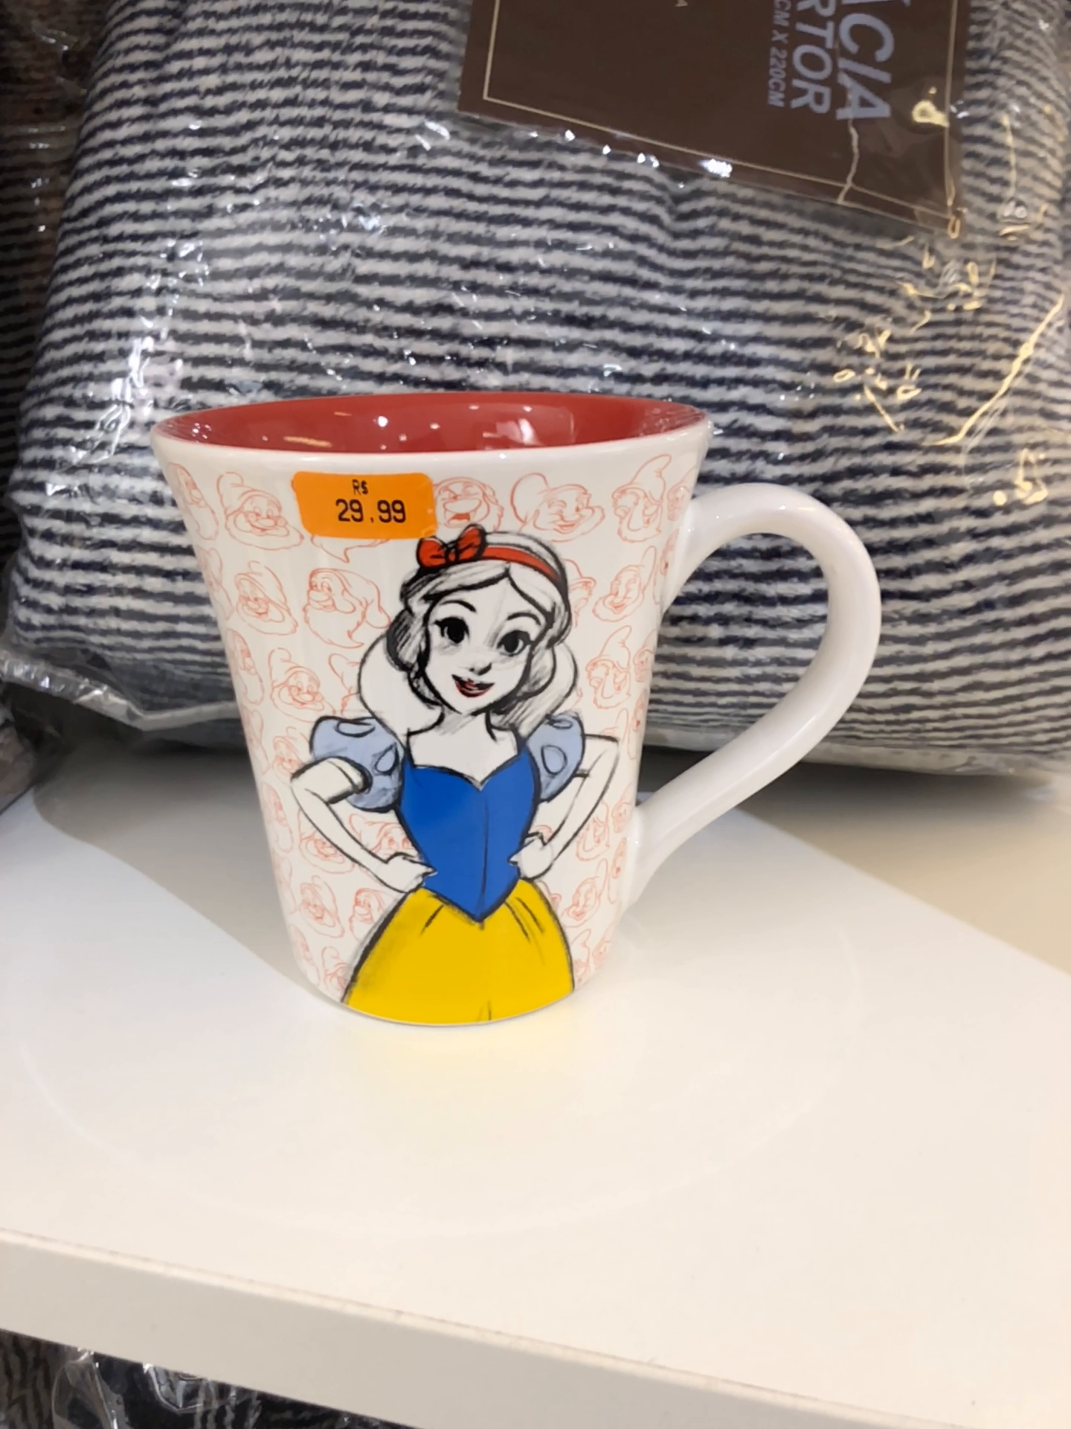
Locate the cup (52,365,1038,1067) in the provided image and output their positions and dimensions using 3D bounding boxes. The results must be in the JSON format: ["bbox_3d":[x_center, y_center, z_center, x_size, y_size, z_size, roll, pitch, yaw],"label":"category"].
[{"bbox_3d":[0.001,-0.008,0.203,0.120,0.089,0.091,-1,20,-1],"label":"cup"}]

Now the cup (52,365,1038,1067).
[{"bbox_3d":[0.001,-0.008,0.203,0.120,0.089,0.091,-1,20,-1],"label":"cup"}]
